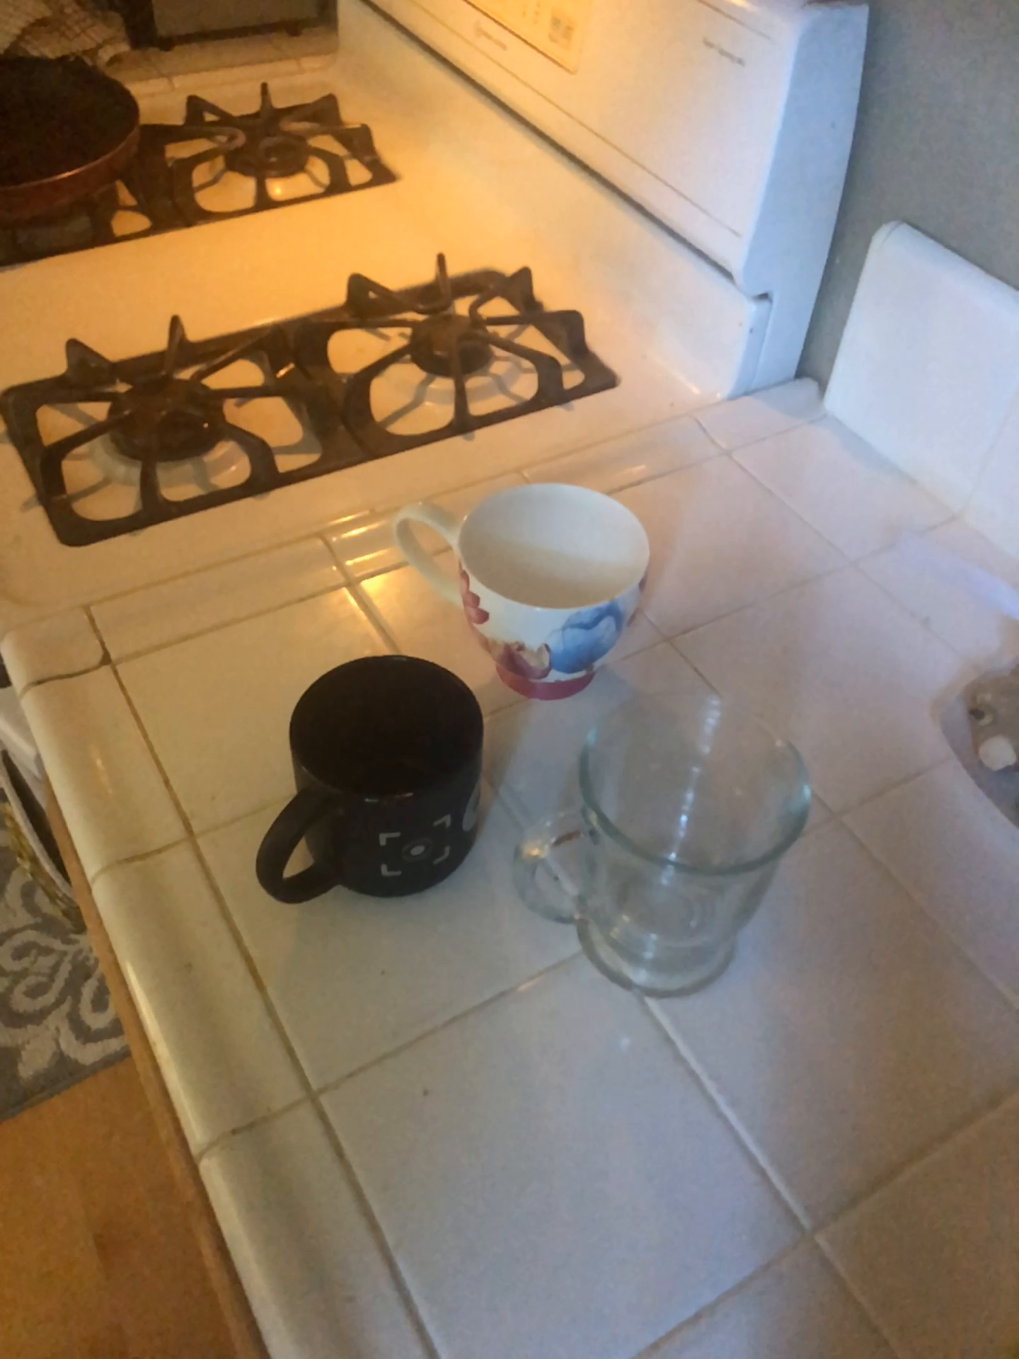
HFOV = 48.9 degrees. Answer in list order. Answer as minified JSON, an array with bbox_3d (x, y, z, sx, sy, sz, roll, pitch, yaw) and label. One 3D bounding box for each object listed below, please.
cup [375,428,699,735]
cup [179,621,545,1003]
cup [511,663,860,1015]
[{"bbox_3d":[0.015,-0.059,0.639,0.140,0.079,0.111,25,51,18],"label":"cup"},{"bbox_3d":[-0.068,0.060,0.539,0.131,0.089,0.100,-32,57,-28],"label":"cup"},{"bbox_3d":[0.068,0.073,0.504,0.120,0.119,0.101,-3,48,-6],"label":"cup"}]
